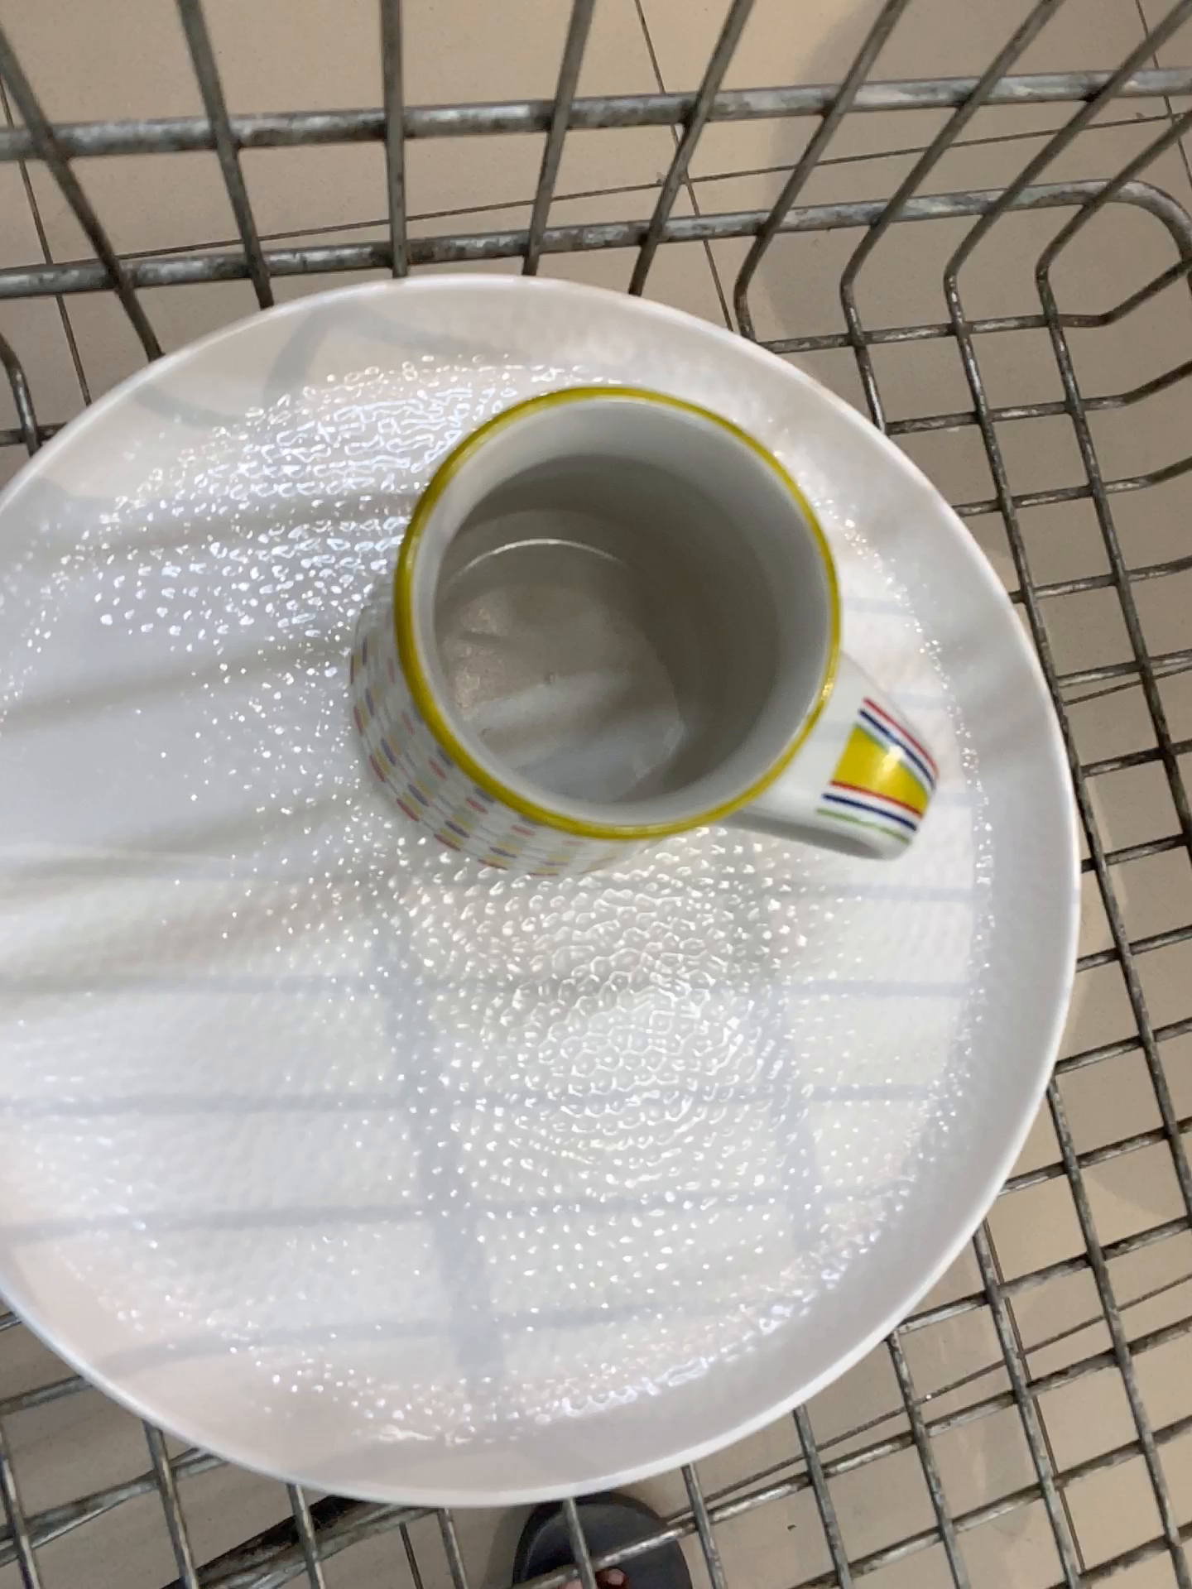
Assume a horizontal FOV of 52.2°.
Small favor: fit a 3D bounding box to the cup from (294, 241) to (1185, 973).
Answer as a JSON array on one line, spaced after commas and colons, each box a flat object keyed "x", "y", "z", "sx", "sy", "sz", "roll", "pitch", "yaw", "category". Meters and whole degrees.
[{"x": 0.015, "y": -0.019, "z": 0.216, "sx": 0.120, "sy": 0.100, "sz": 0.080, "roll": 9, "pitch": 83, "yaw": -14, "category": "cup"}]
